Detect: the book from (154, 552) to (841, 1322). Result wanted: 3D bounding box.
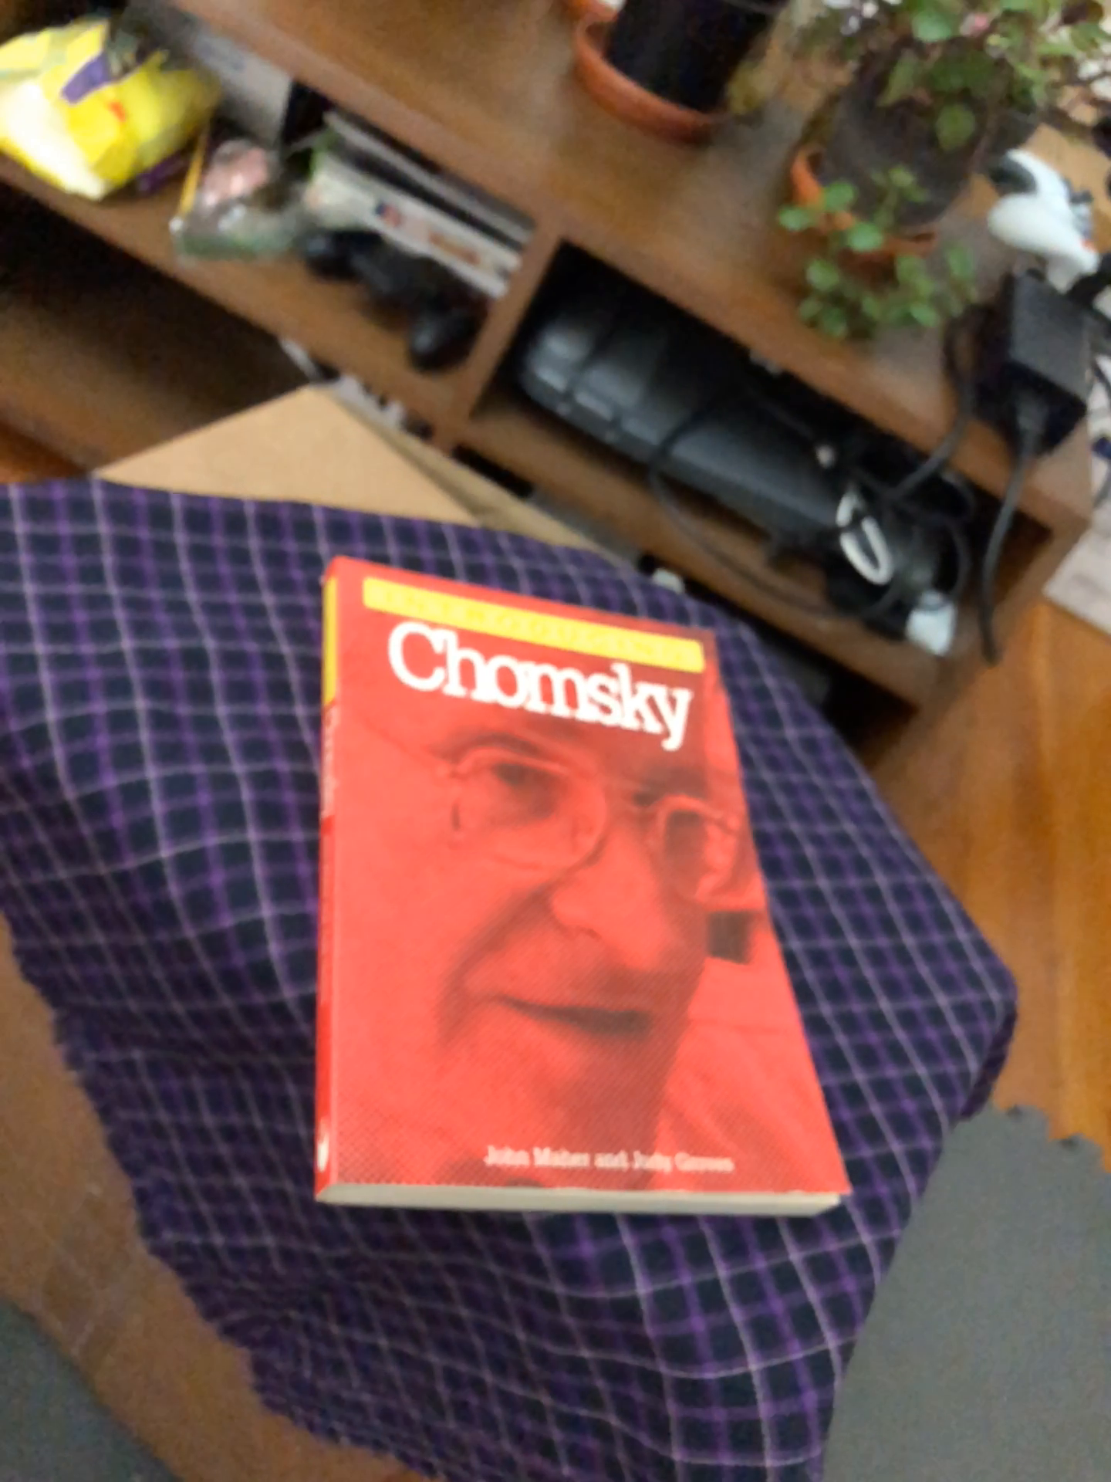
[{"bbox_3d":[-0.022,0.049,0.393,0.180,0.020,0.241,10,48,-23],"label":"book"}]
